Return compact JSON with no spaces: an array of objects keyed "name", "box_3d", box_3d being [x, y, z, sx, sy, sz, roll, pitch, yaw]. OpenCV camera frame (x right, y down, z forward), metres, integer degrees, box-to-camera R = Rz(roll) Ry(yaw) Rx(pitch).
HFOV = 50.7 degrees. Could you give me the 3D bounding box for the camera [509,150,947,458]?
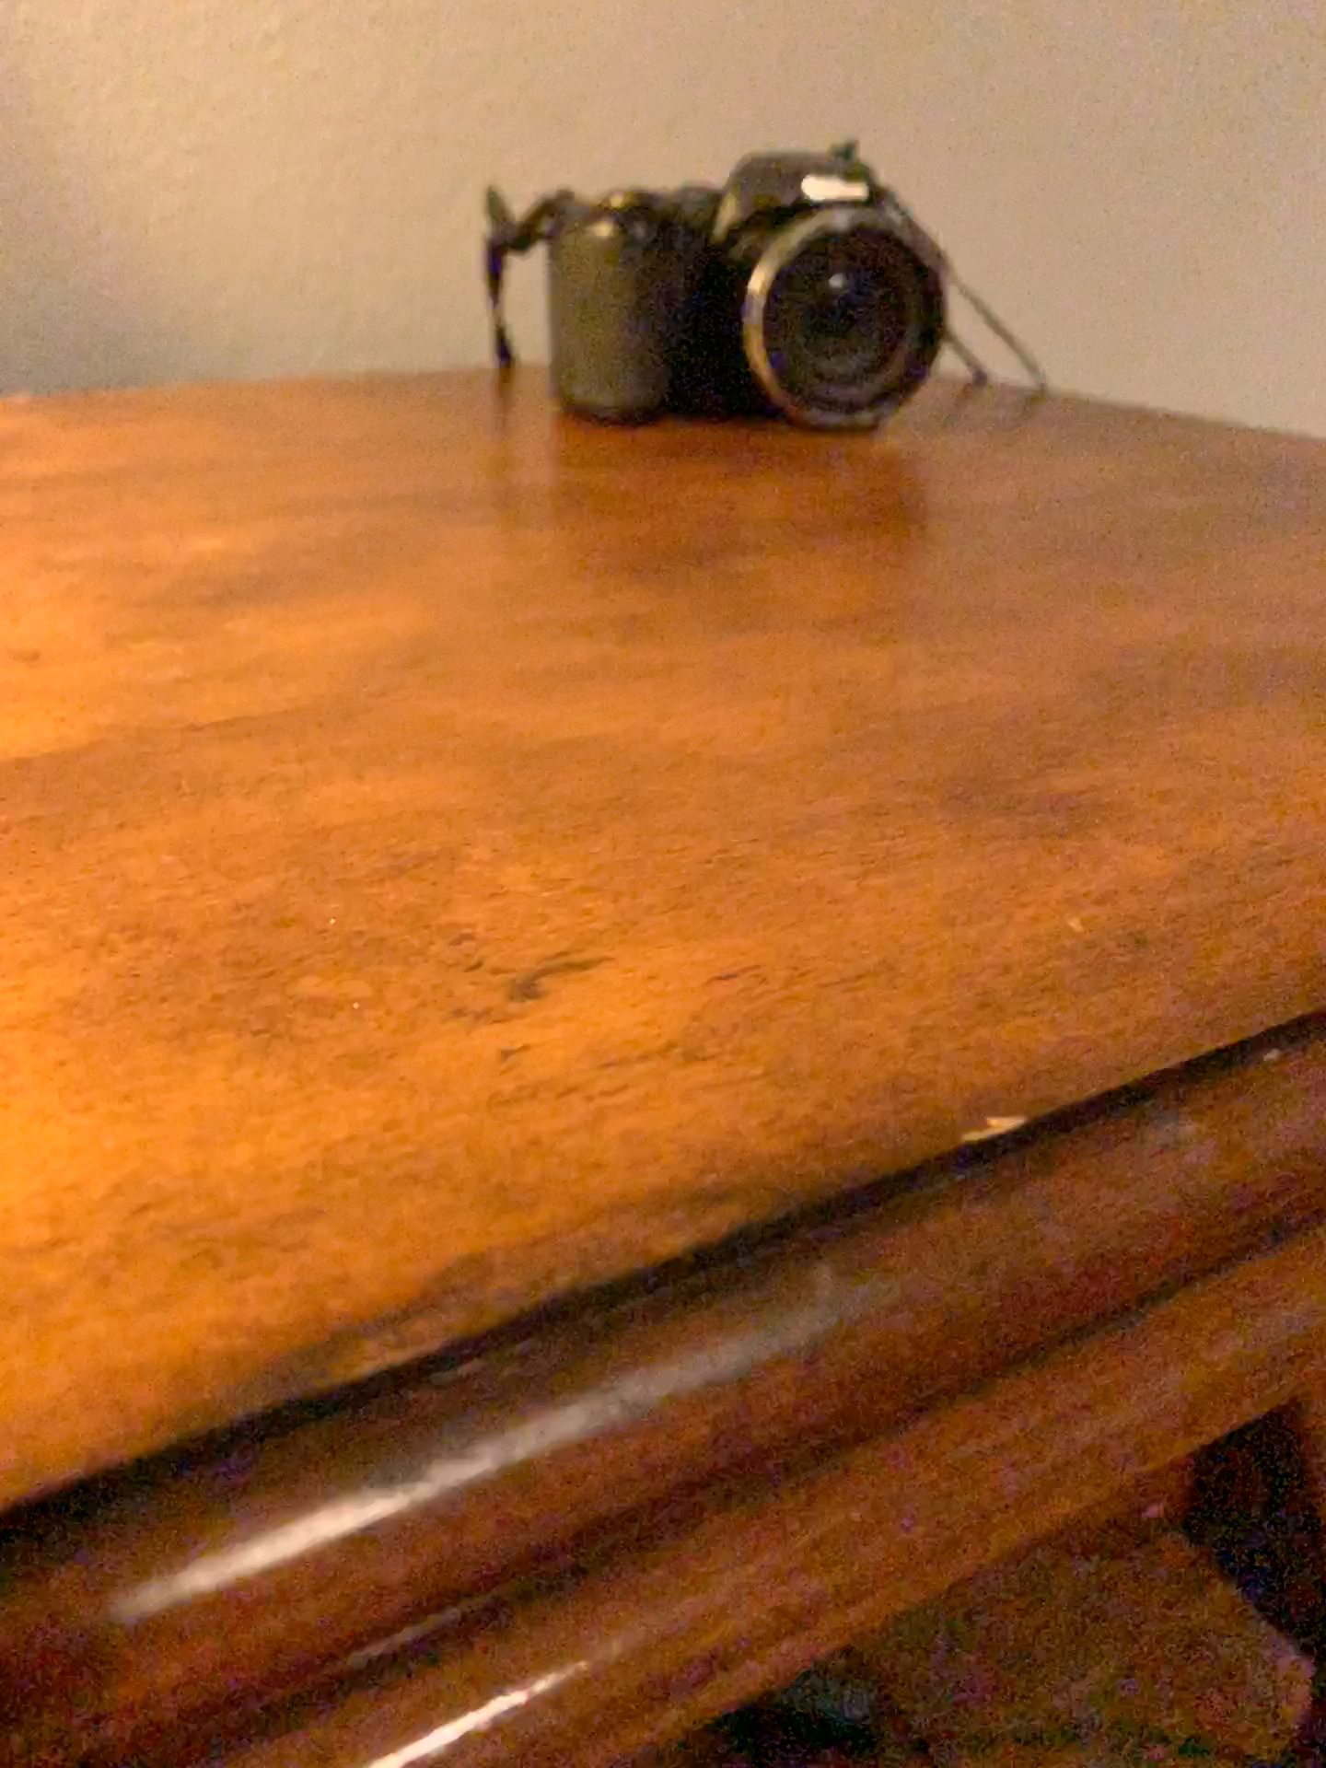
[{"name":"camera","box_3d":[0.014,-0.195,0.463,0.110,0.081,0.123,-6,26,-12]}]
